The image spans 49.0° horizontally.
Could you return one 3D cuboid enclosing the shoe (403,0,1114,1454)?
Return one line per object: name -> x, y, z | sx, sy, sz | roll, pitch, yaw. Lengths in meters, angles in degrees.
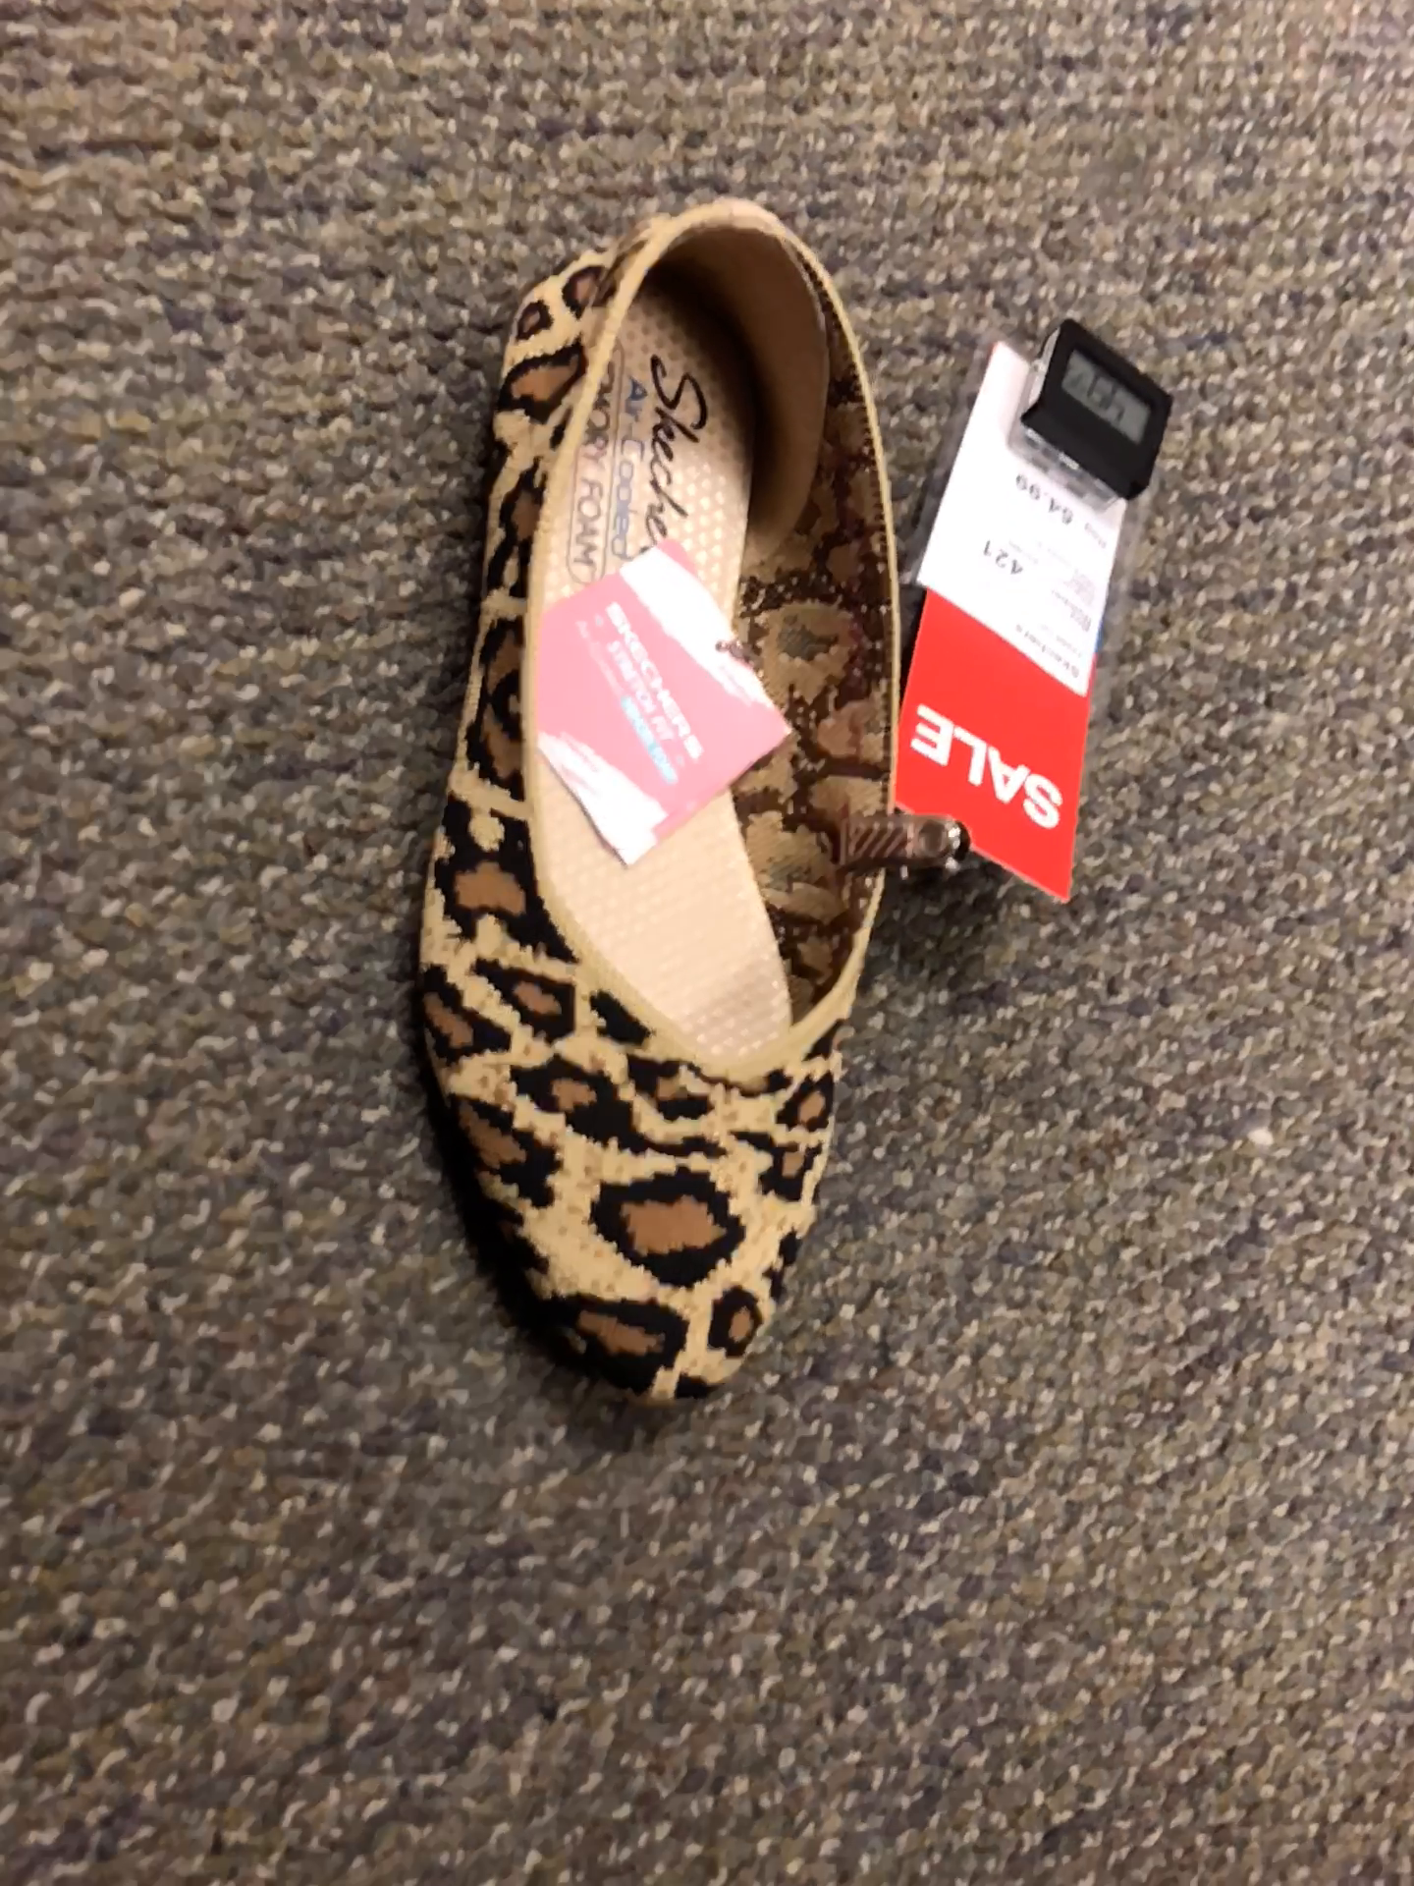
shoe -> 0.003, -0.039, 0.318 | 0.105, 0.085, 0.254 | 1, 81, -24
